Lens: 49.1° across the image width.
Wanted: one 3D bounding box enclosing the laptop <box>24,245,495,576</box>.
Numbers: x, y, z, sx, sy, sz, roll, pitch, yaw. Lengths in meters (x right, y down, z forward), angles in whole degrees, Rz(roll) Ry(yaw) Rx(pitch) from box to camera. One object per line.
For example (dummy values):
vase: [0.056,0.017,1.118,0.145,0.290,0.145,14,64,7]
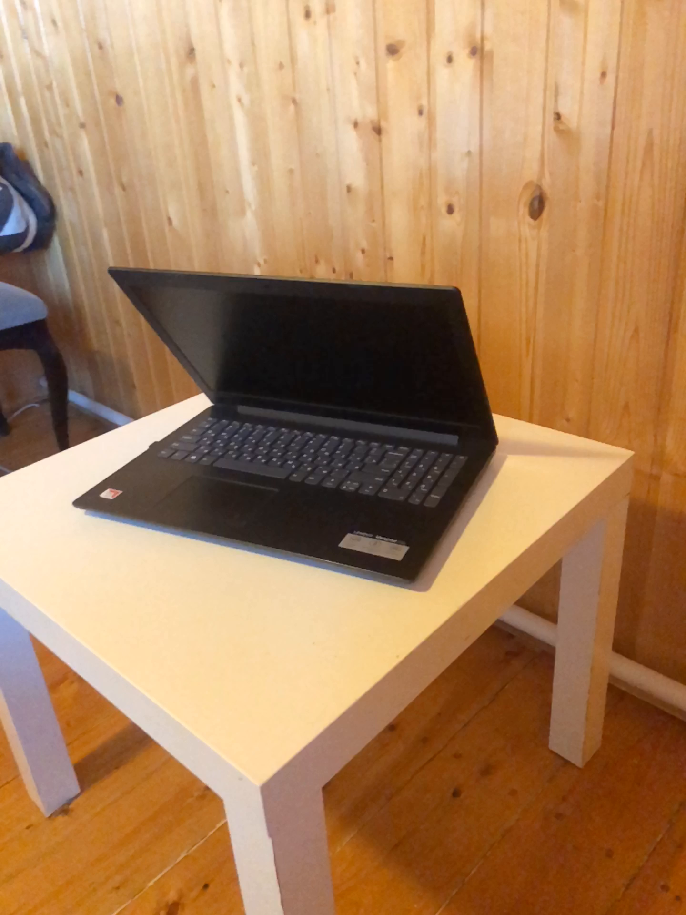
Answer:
laptop: [-0.066,-0.077,0.753,0.373,0.206,0.251,9,30,26]
